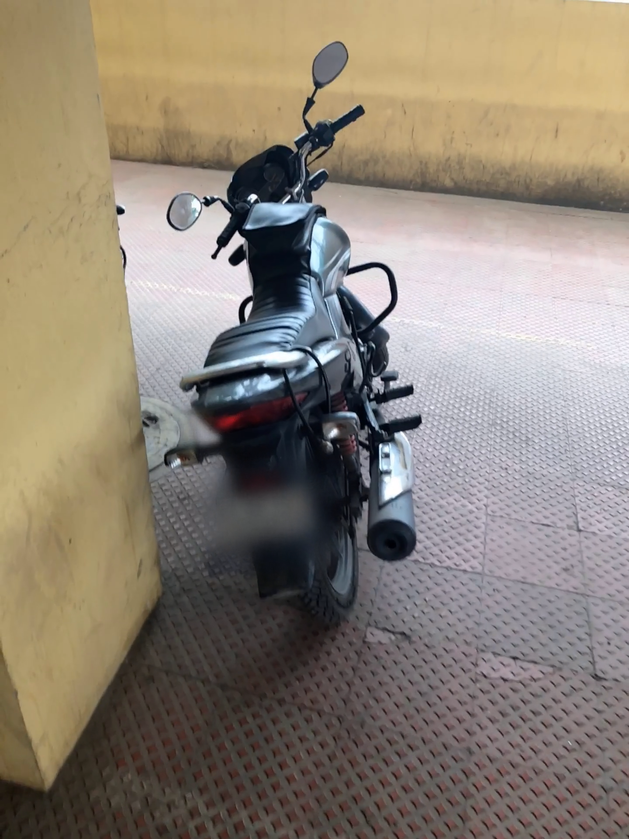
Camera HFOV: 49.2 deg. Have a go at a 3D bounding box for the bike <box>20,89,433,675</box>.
[{"bbox_3d":[-0.197,-0.252,2.119,0.720,1.165,1.477,1,33,-2],"label":"bike"}]
